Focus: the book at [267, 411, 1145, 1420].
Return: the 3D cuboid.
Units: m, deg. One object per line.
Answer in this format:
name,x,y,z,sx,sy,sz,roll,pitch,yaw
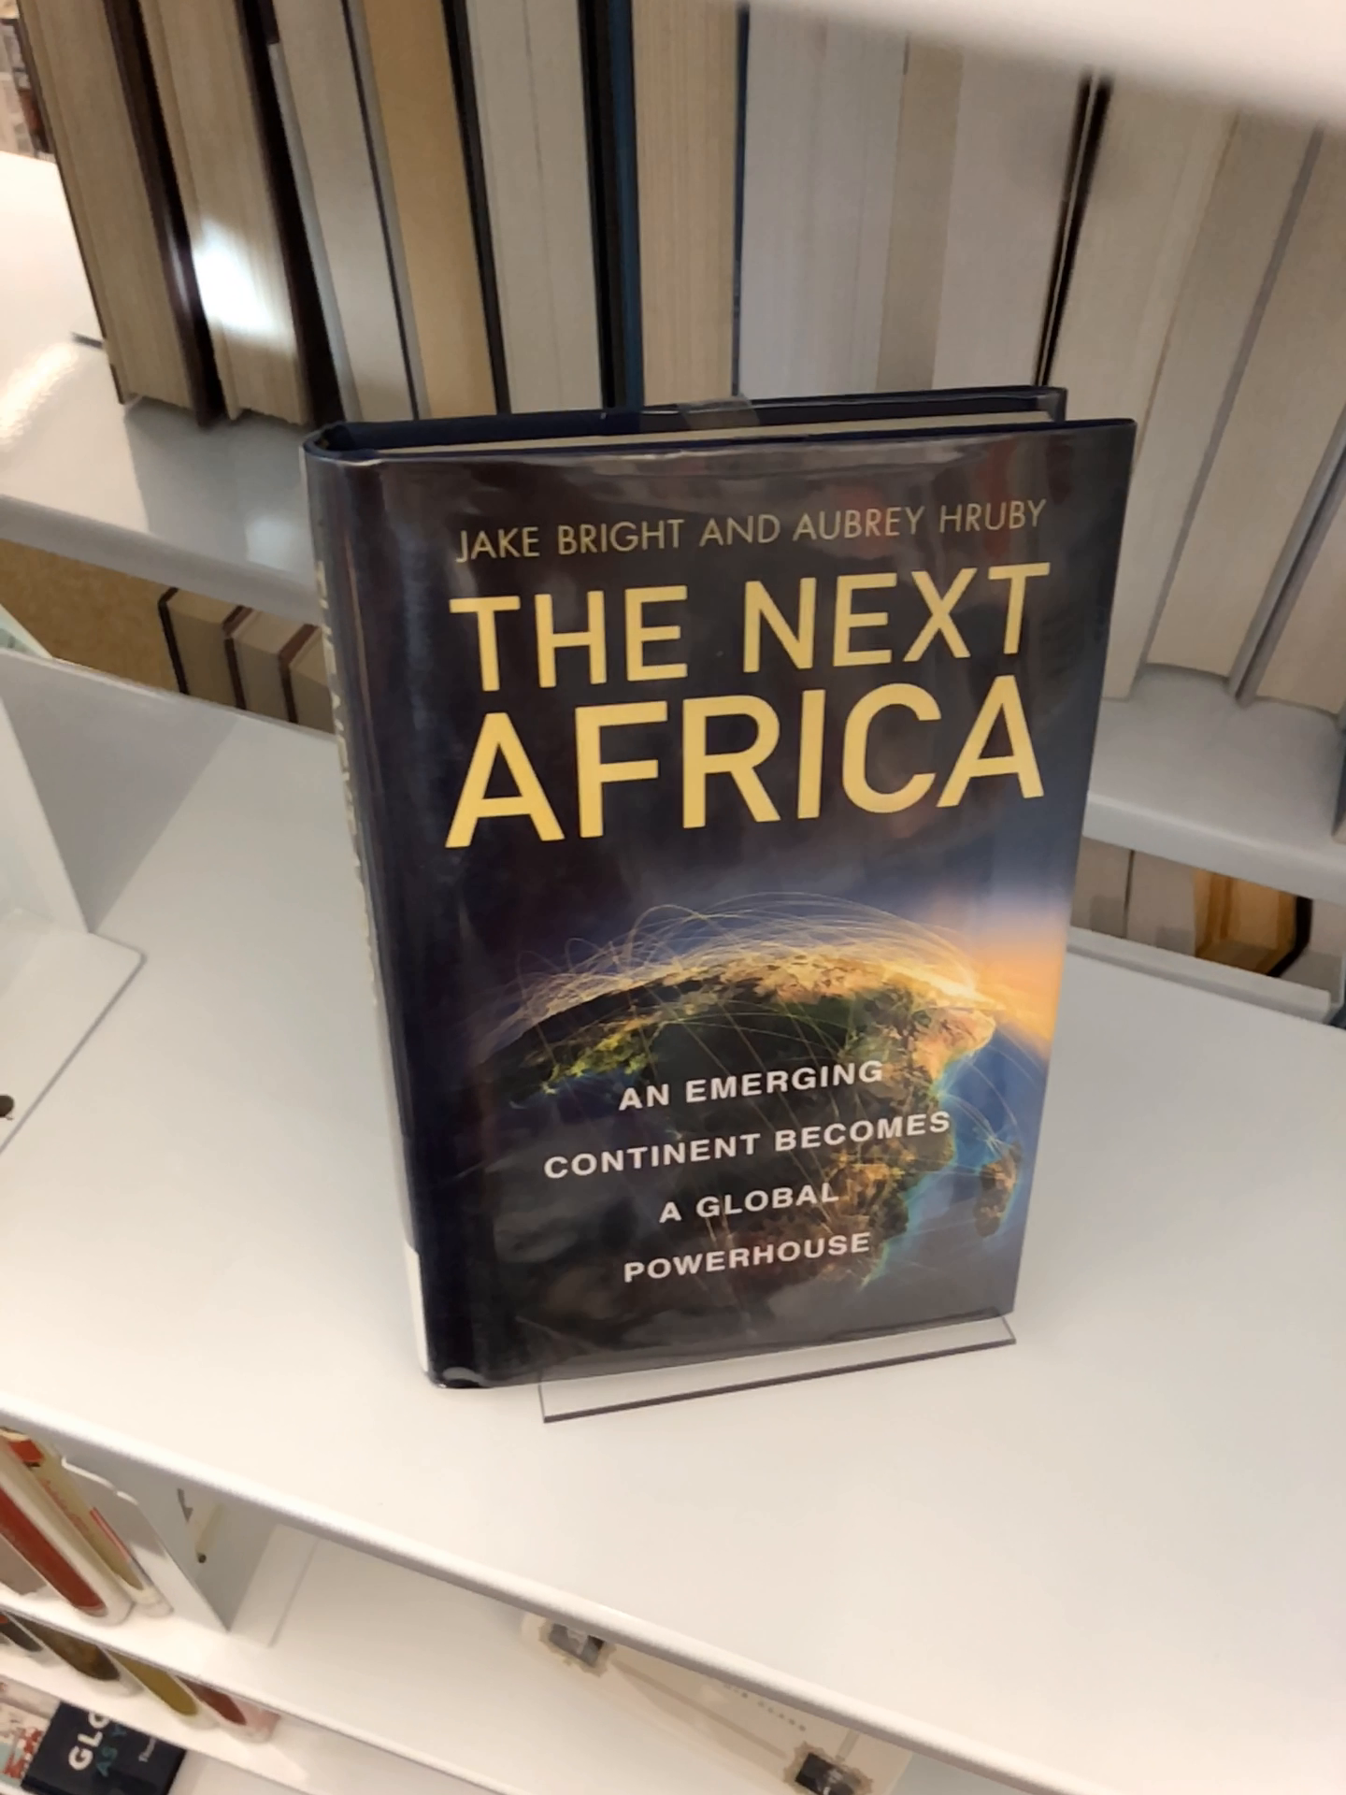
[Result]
book,0.007,0.012,0.316,0.153,0.211,0.030,-5,28,-9
